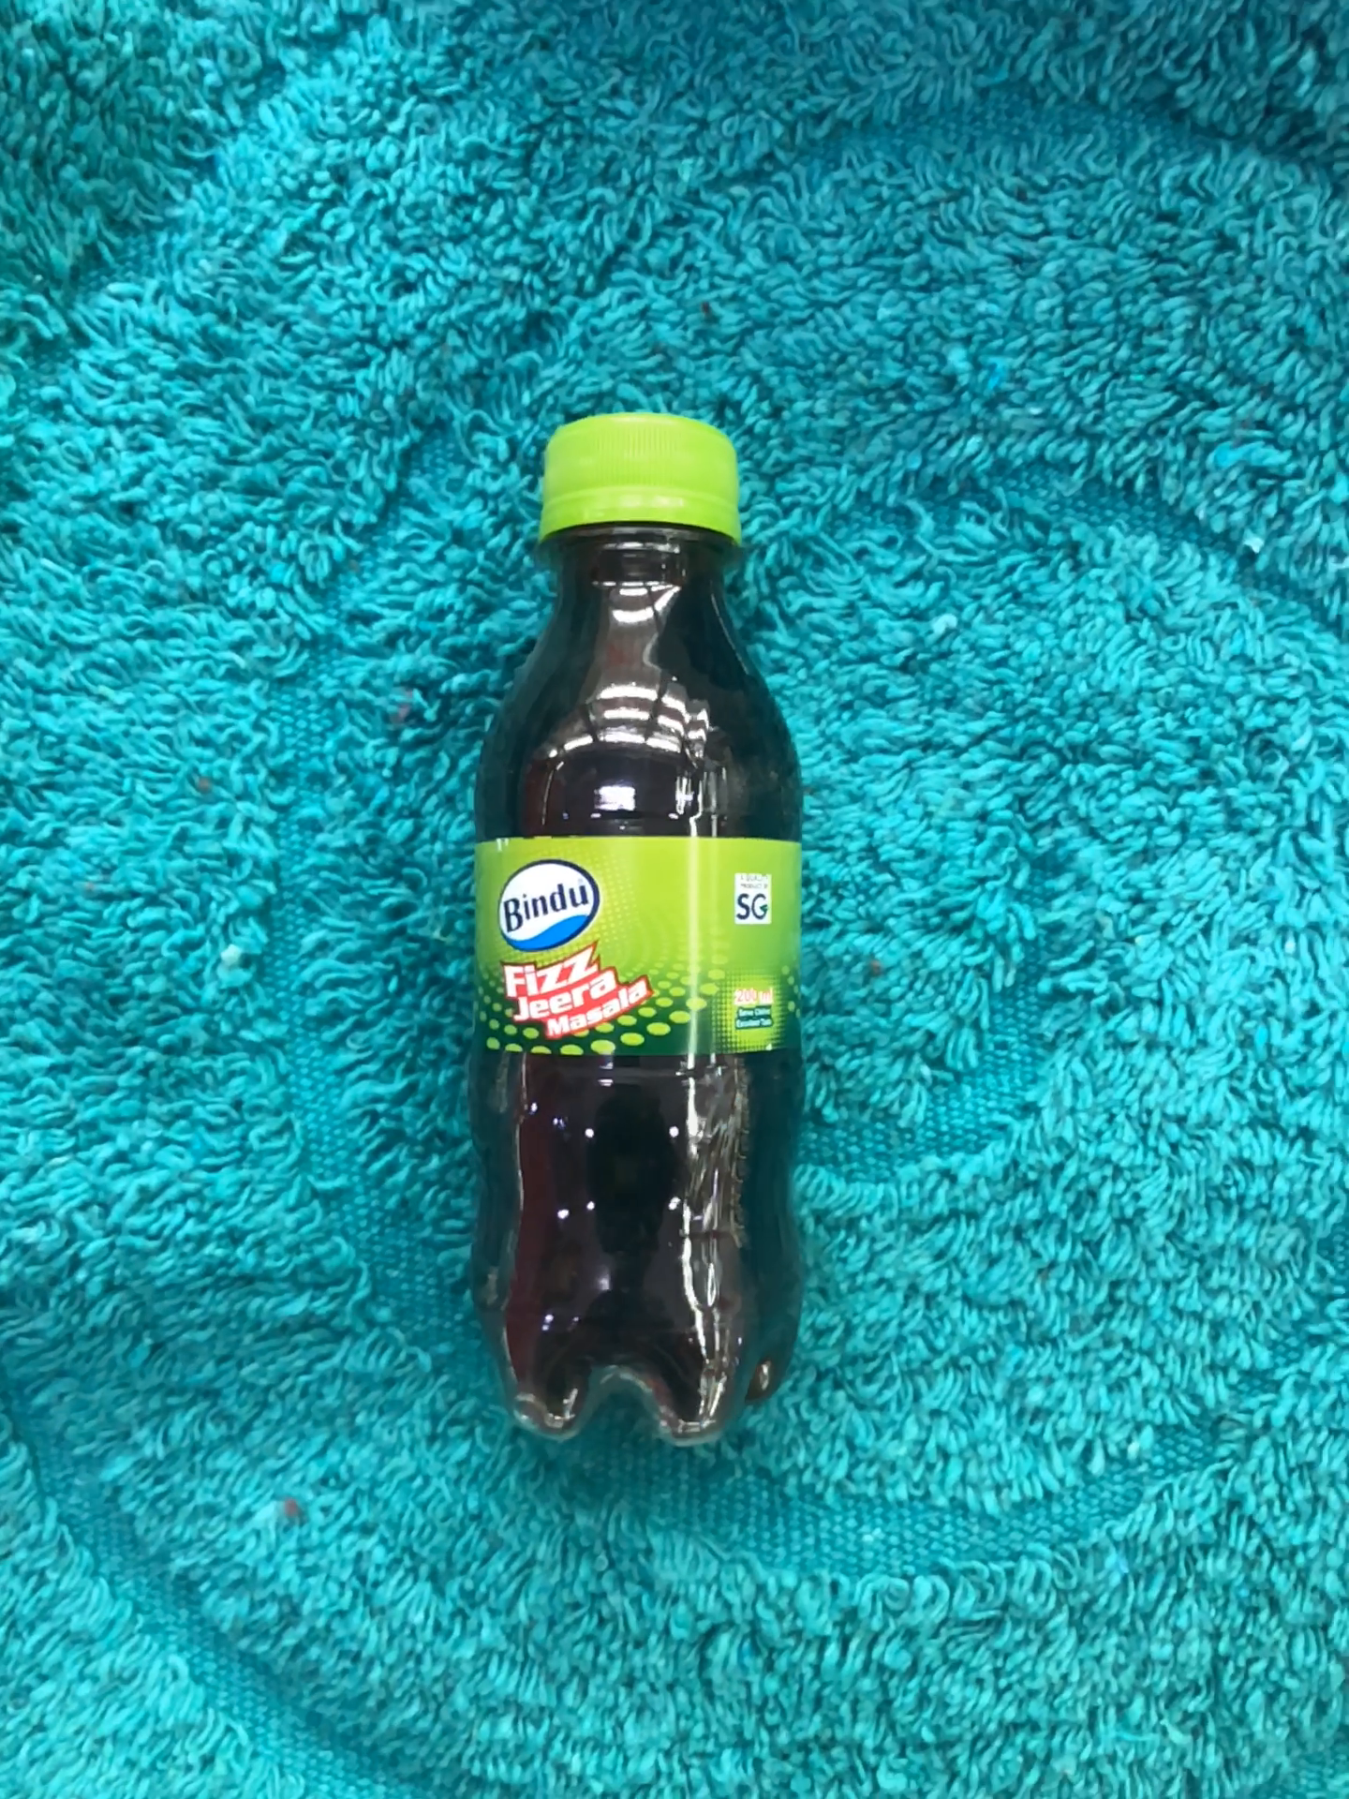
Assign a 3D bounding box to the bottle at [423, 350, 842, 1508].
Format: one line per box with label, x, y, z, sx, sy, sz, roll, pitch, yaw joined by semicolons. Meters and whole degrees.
bottle;-0.003;0.004;0.226;0.050;0.050;0.150;1;93;13
